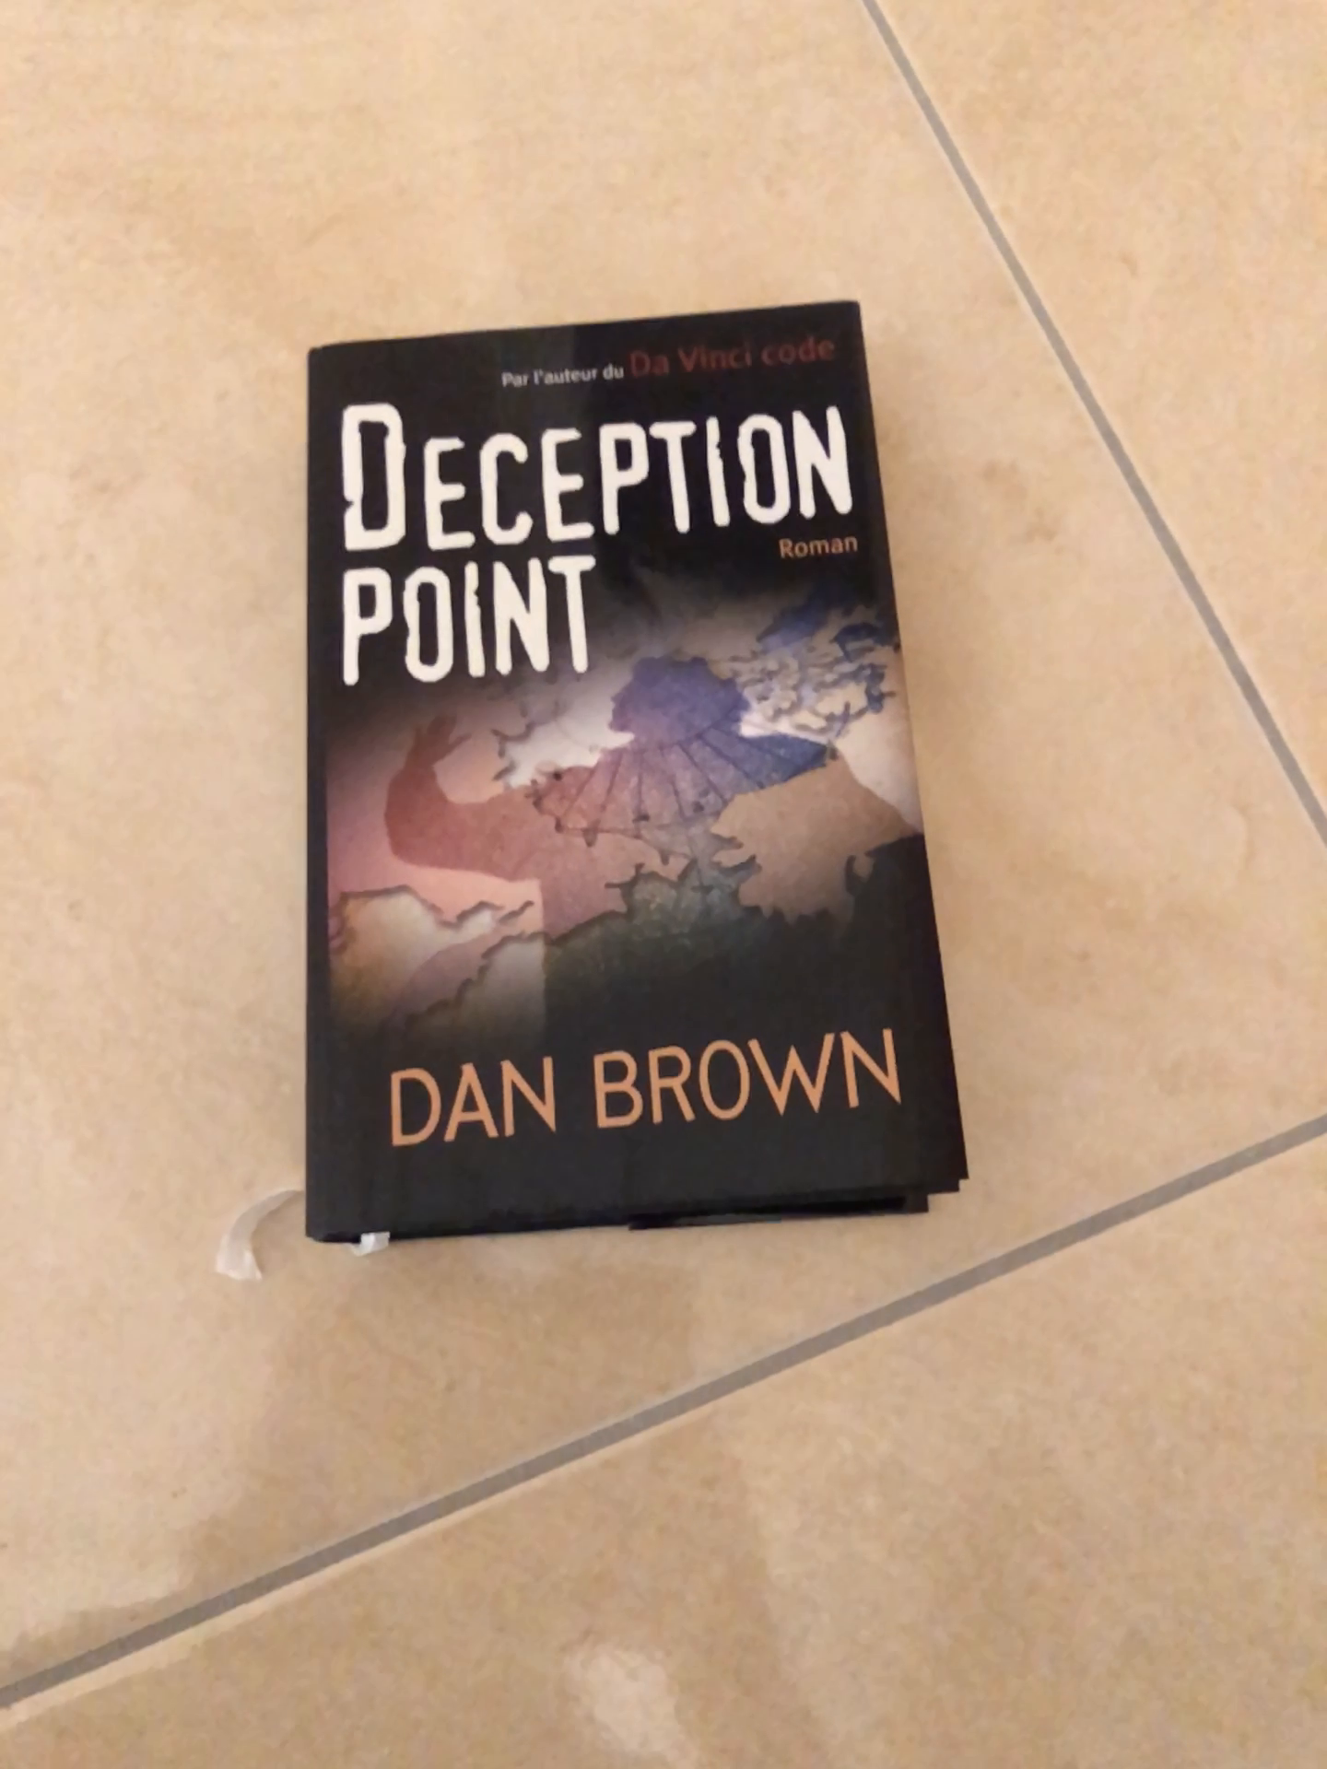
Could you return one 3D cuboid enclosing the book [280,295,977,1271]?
[{"bbox_3d":[-0.012,-0.026,0.333,0.136,0.037,0.212,-4,74,1],"label":"book"}]
